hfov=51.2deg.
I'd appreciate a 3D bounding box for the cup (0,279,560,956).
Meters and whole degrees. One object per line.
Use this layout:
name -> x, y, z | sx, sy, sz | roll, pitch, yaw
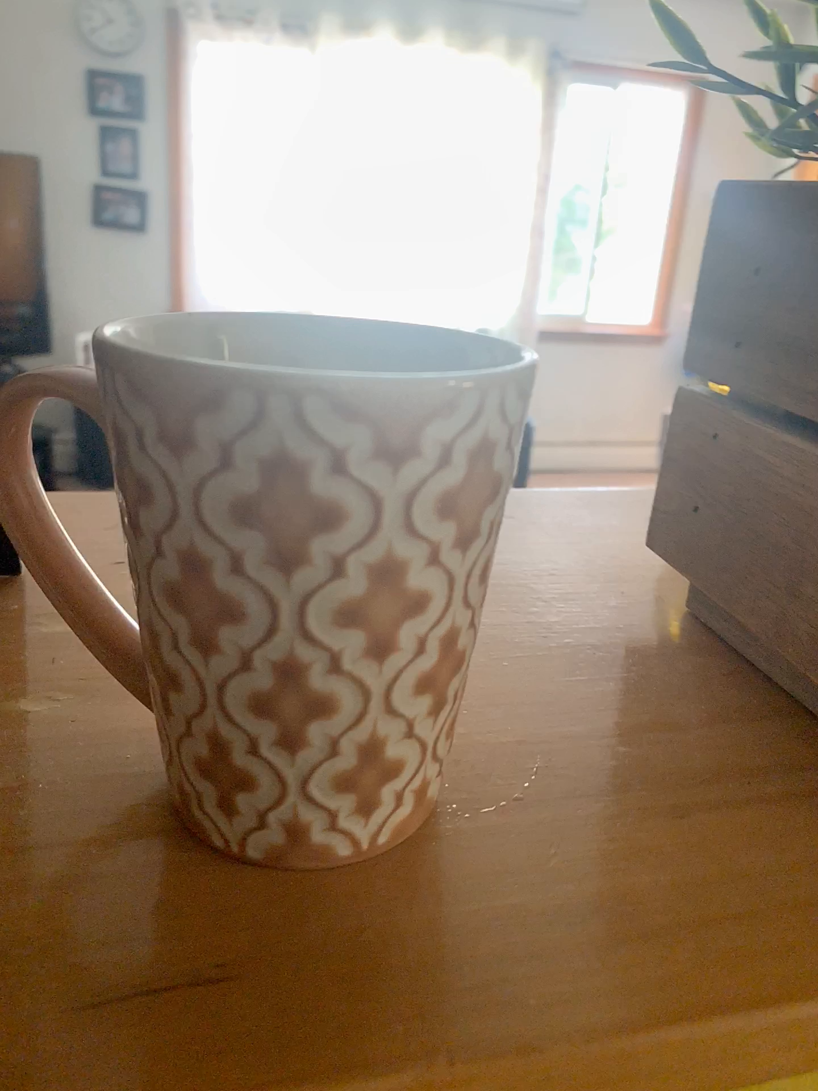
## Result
cup -> -0.037, 0.003, 0.199 | 0.120, 0.109, 0.091 | 9, 22, 13
